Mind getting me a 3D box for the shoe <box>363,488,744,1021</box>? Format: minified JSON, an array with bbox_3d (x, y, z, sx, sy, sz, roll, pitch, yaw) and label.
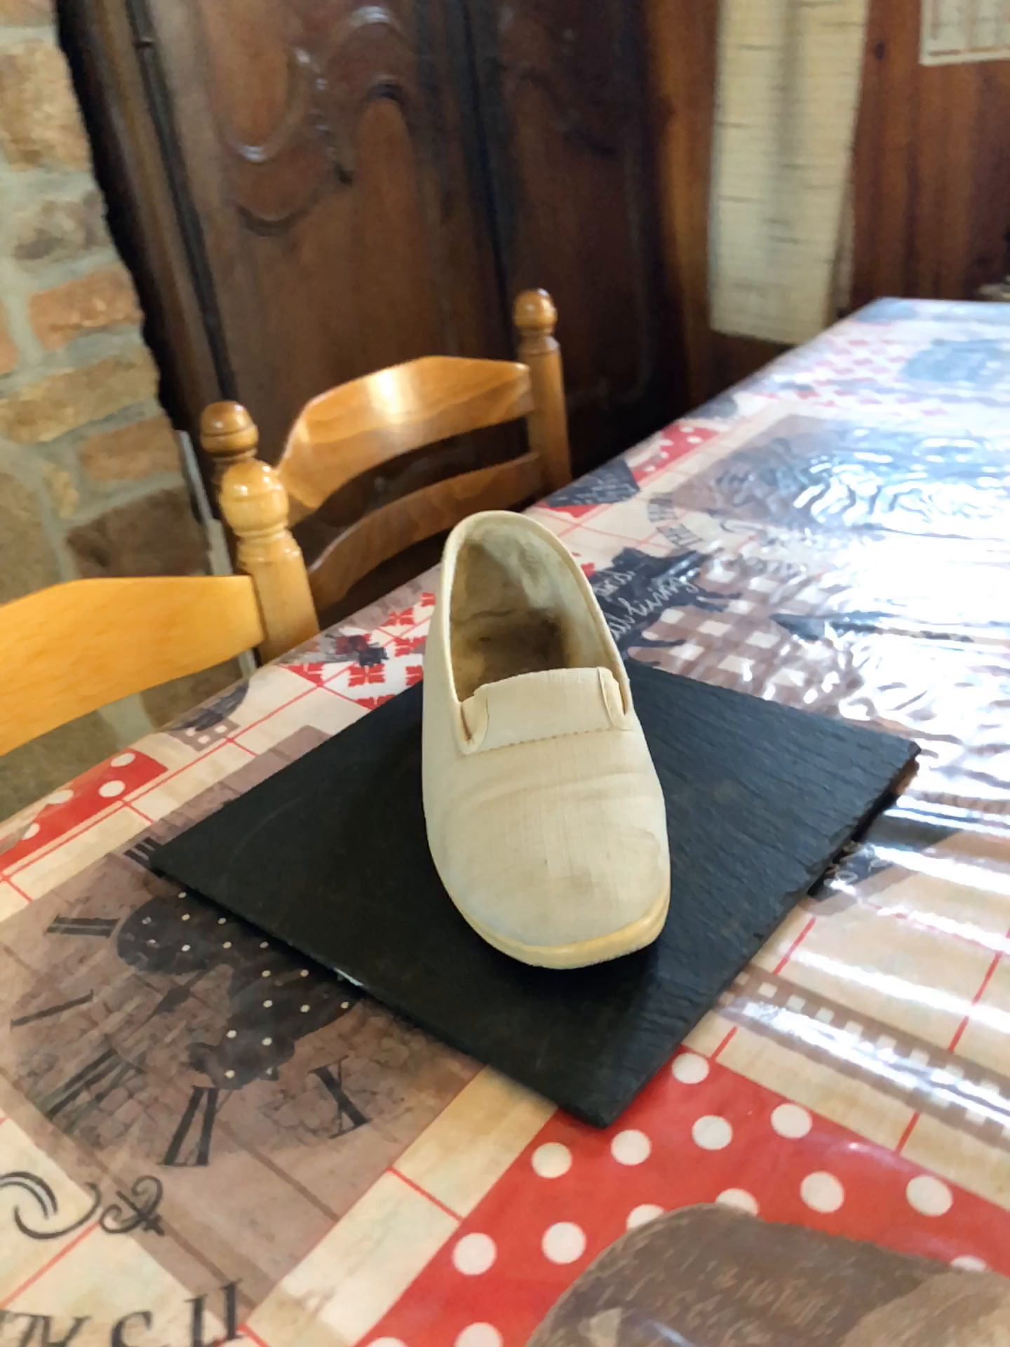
[{"bbox_3d":[0.005,0.010,0.450,0.100,0.080,0.251,-10,28,-5],"label":"shoe"}]
